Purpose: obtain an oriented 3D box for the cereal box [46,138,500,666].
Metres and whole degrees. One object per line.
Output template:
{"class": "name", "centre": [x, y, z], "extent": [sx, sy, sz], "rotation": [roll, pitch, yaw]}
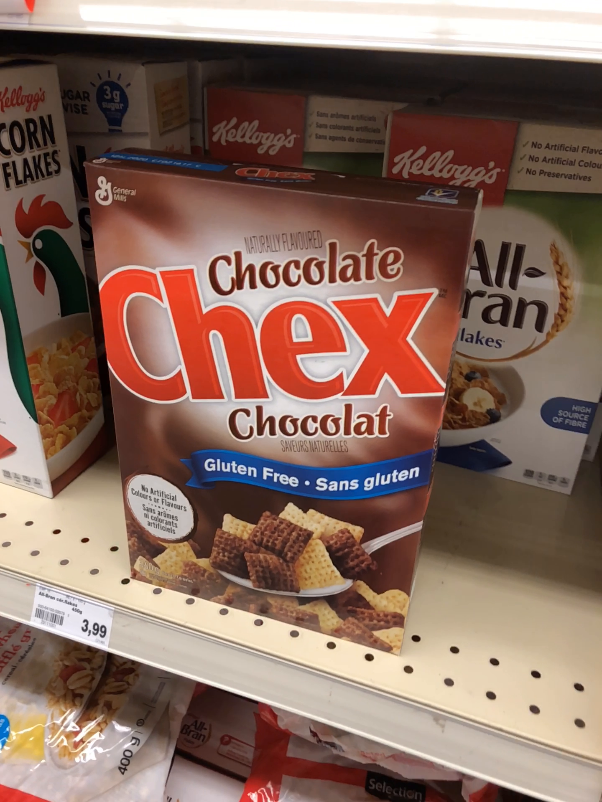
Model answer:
{"class": "cereal box", "centre": [-0.021, 0.009, 0.383], "extent": [0.210, 0.278, 0.050], "rotation": [12, 31, 15]}
